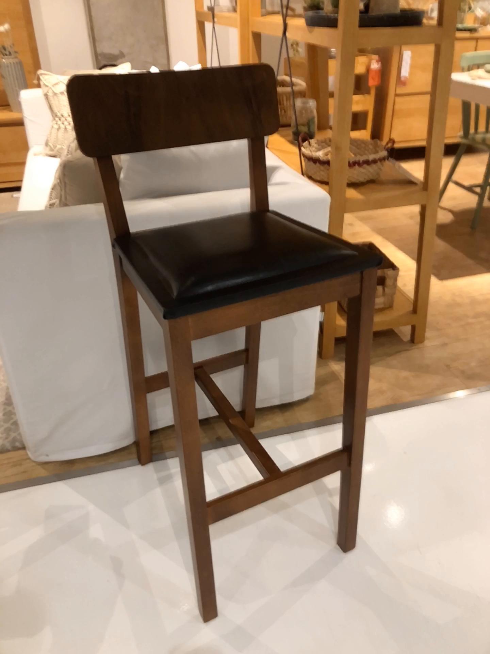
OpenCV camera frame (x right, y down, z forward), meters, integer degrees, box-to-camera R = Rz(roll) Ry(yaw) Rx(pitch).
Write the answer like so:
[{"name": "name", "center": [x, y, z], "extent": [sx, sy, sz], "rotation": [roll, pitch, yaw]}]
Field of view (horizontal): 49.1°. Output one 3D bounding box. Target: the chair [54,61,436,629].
[{"name": "chair", "center": [-0.034, 0.022, 1.151], "extent": [0.441, 1.001, 0.534], "rotation": [-16, 34, -23]}]
